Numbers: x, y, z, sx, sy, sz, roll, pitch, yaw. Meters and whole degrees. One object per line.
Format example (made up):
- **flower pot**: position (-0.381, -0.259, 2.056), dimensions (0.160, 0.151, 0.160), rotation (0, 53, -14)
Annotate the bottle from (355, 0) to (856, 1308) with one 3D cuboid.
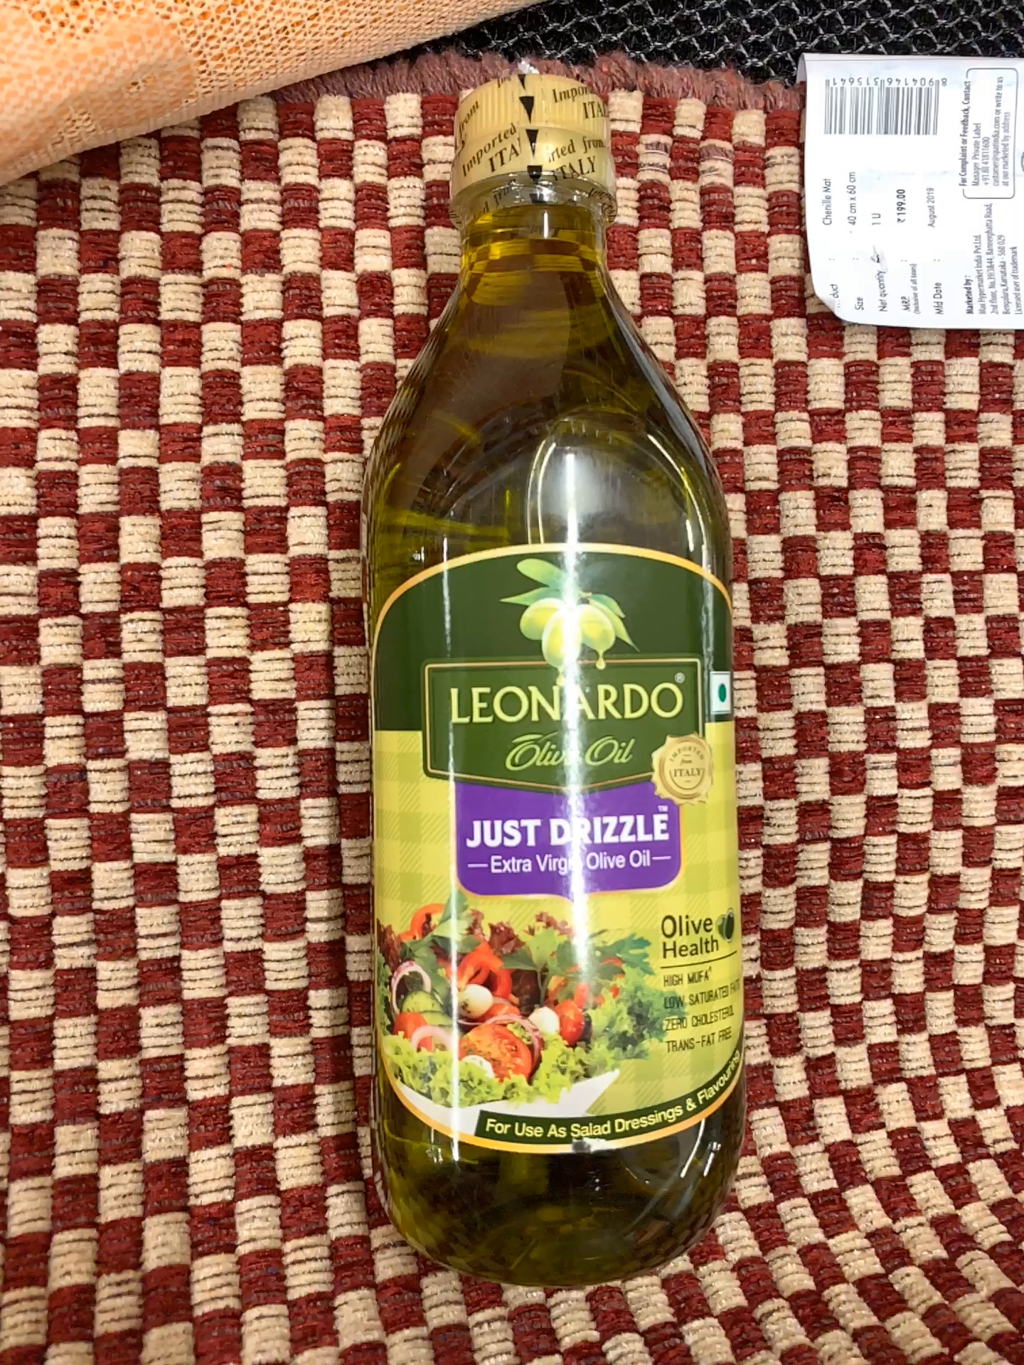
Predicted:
- **bottle**: position (0.014, -0.019, 0.217), dimensions (0.080, 0.070, 0.240), rotation (0, 89, -18)
